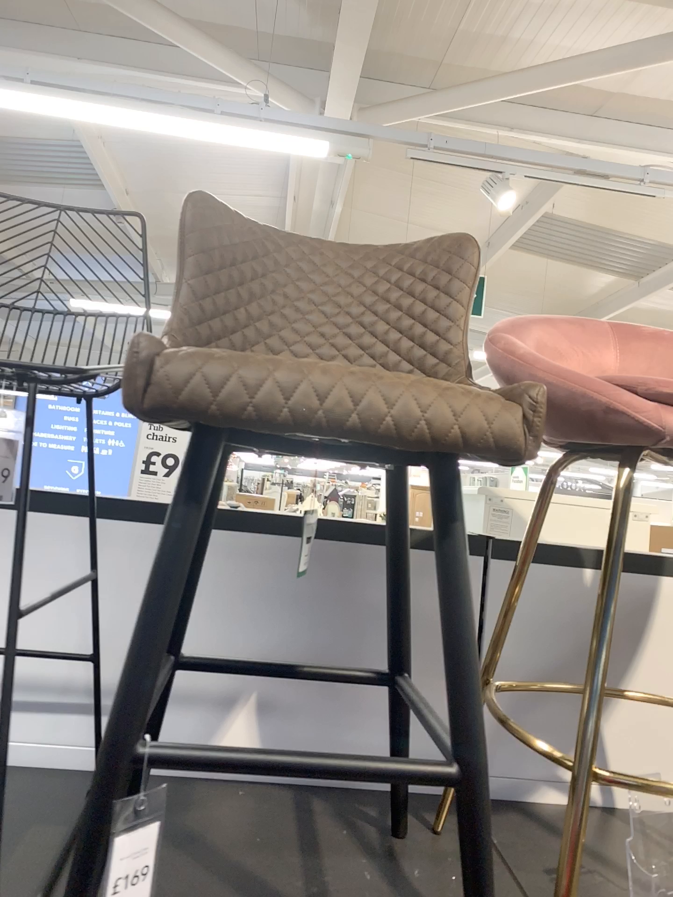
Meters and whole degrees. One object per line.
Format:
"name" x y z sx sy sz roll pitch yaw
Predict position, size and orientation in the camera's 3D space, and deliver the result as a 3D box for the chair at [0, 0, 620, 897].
"chair" -0.055 0.075 0.917 0.535 0.997 0.465 7 -2 -13
